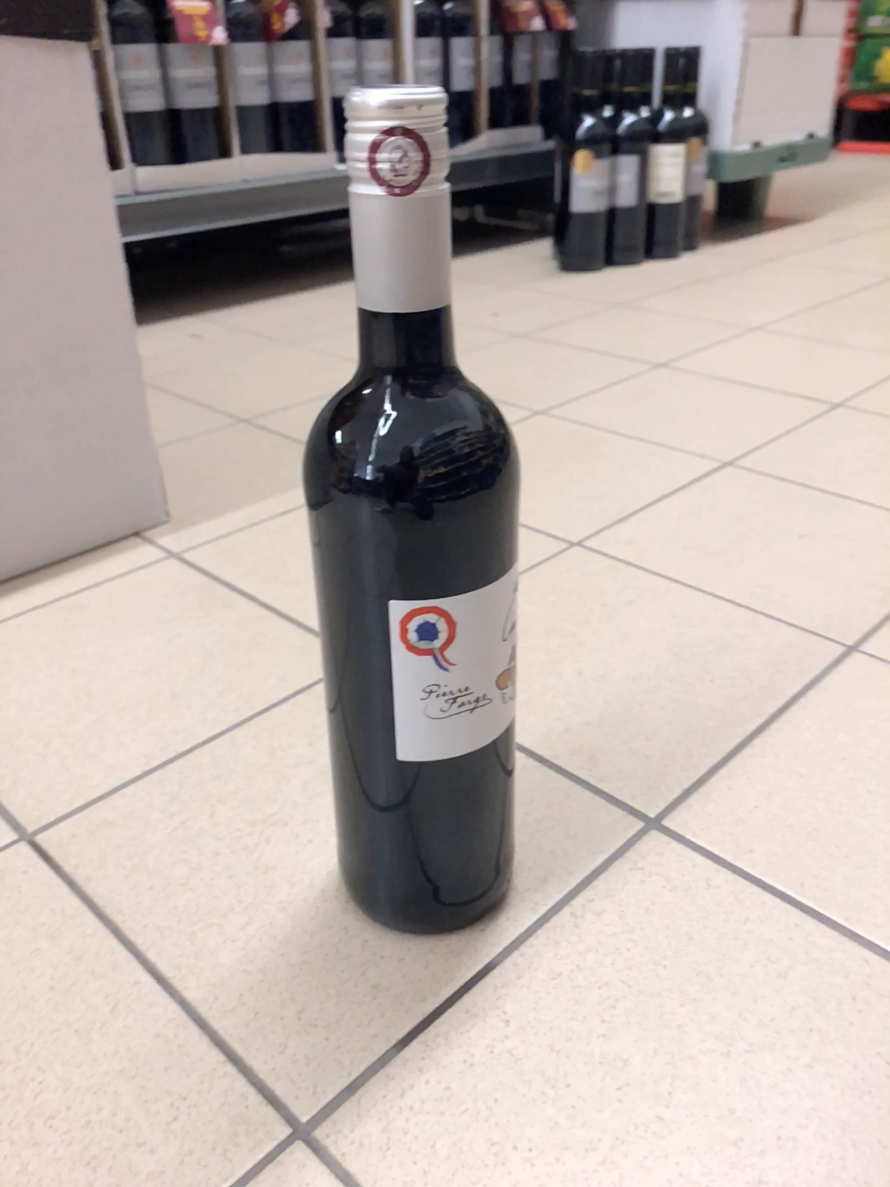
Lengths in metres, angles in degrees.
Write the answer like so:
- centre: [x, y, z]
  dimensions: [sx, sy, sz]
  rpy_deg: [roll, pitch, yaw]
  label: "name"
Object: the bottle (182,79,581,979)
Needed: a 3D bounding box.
- centre: [-0.014, -0.013, 0.350]
  dimensions: [0.080, 0.298, 0.080]
  rpy_deg: [-1, 28, 1]
  label: "bottle"
